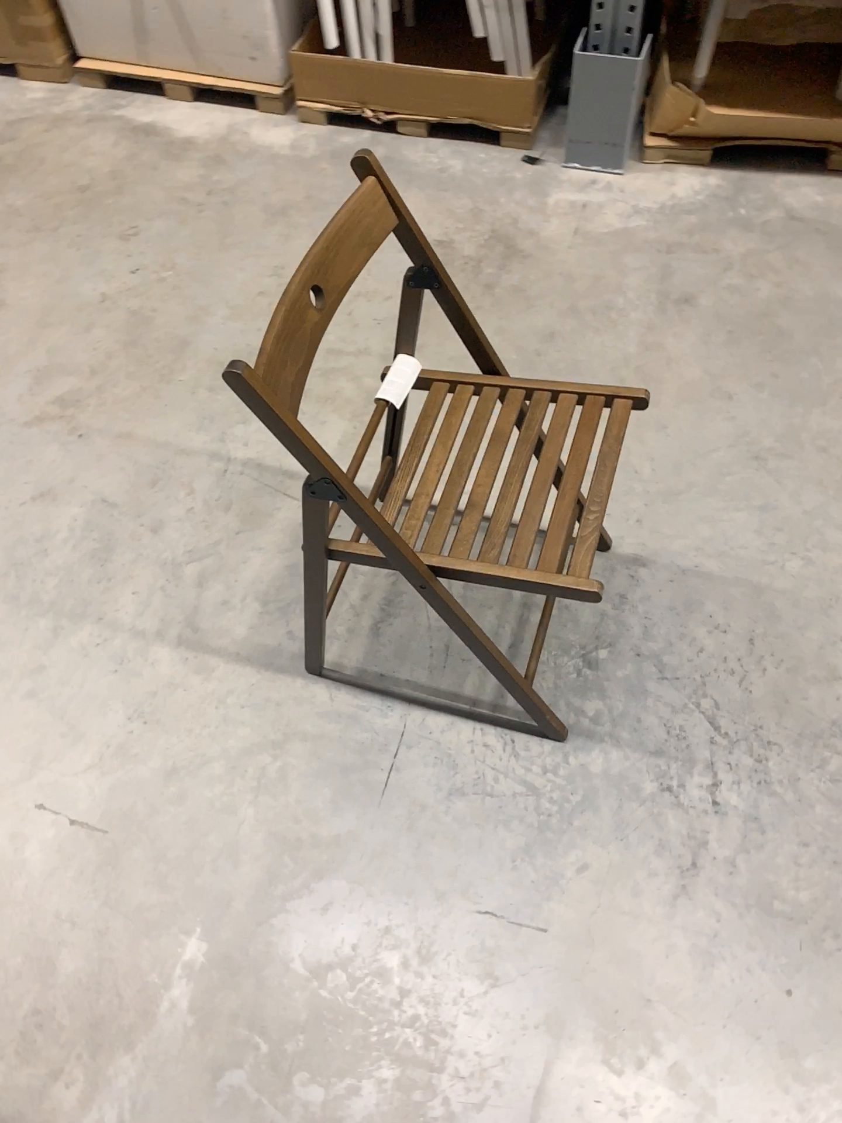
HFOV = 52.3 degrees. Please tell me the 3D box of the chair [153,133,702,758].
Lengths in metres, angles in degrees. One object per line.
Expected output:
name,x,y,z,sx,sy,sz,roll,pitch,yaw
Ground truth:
chair,0.048,-0.129,1.255,0.500,0.698,0.481,13,58,12
